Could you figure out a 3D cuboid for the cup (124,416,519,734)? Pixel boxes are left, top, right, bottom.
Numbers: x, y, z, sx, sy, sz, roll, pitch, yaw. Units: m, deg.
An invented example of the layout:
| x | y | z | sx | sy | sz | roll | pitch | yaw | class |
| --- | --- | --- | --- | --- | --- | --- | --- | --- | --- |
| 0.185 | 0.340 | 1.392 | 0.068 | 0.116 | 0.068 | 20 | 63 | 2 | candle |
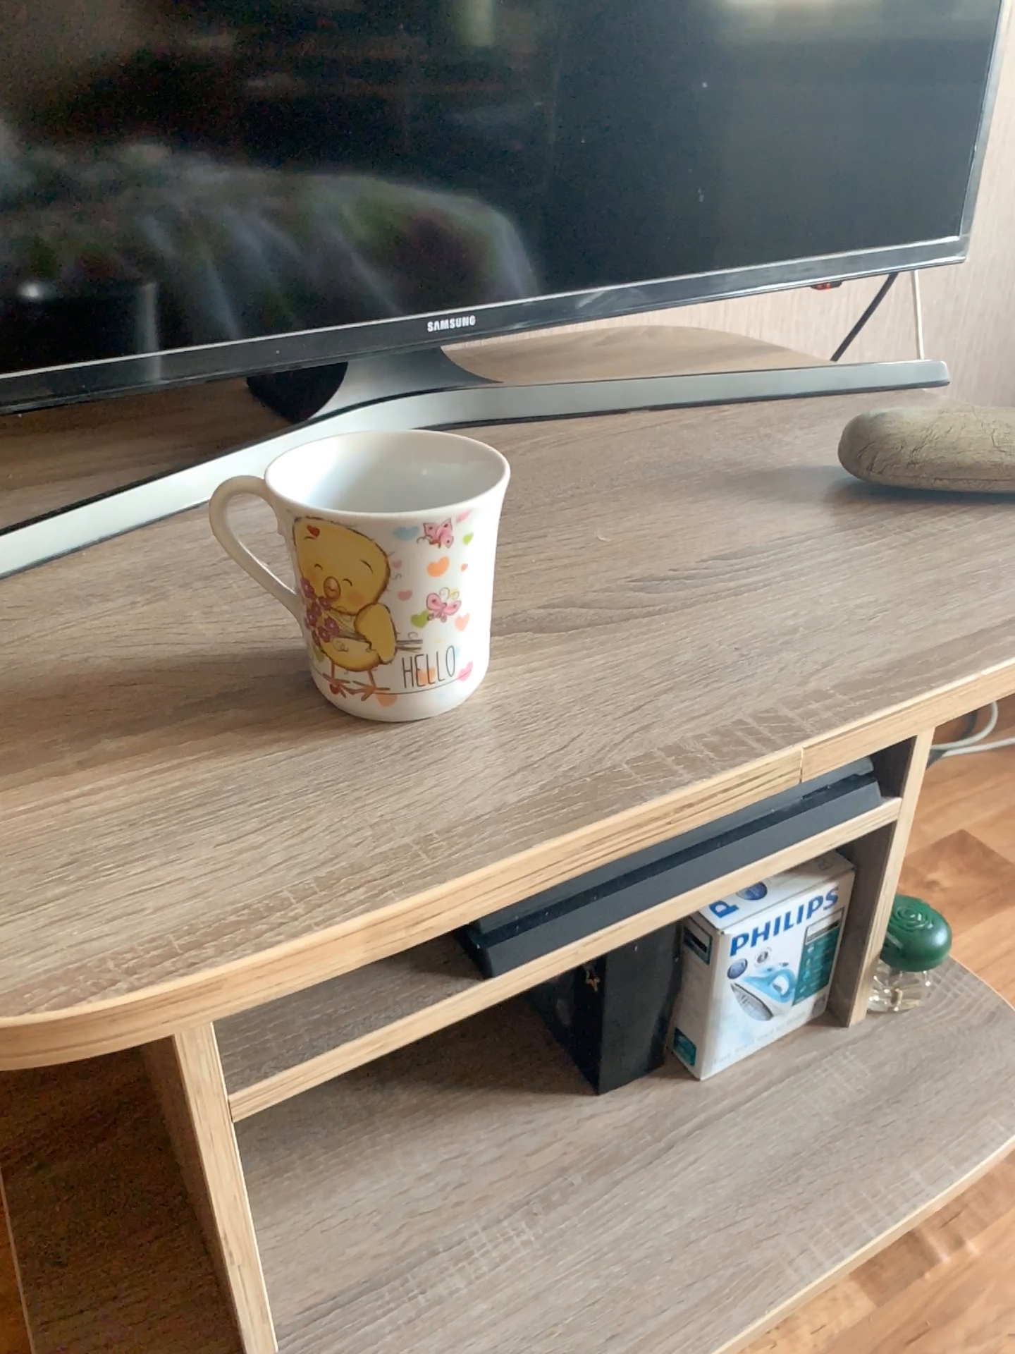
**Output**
| x | y | z | sx | sy | sz | roll | pitch | yaw | class |
| --- | --- | --- | --- | --- | --- | --- | --- | --- | --- |
| -0.055 | -0.037 | 0.356 | 0.110 | 0.080 | 0.070 | 4 | 30 | 7 | cup |
